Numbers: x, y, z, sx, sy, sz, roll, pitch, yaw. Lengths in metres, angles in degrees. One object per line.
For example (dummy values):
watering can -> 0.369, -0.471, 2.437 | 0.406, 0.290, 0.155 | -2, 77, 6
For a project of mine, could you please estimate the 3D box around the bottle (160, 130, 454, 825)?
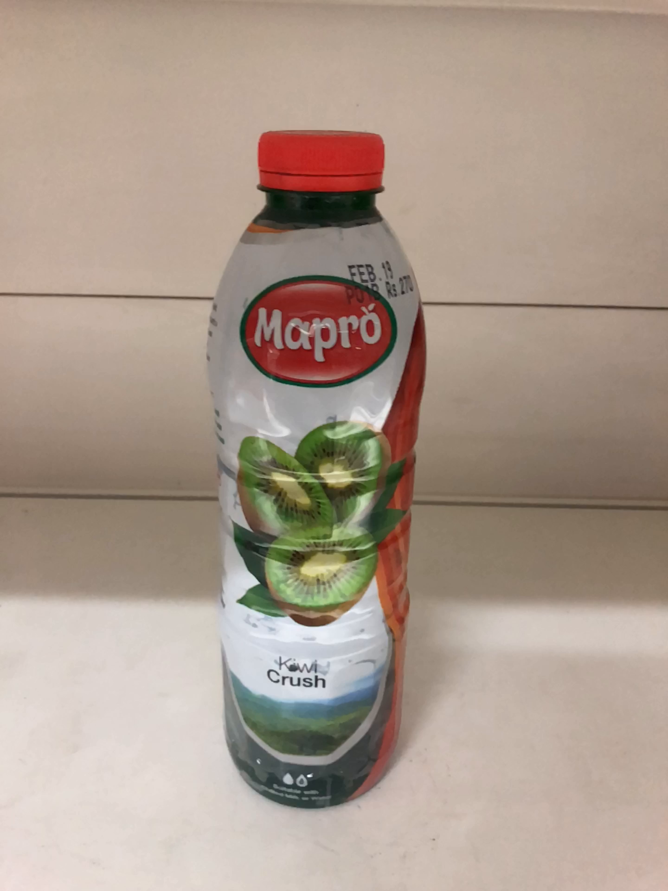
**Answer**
bottle -> -0.010, 0.021, 0.285 | 0.080, 0.259, 0.070 | 1, 23, -1
